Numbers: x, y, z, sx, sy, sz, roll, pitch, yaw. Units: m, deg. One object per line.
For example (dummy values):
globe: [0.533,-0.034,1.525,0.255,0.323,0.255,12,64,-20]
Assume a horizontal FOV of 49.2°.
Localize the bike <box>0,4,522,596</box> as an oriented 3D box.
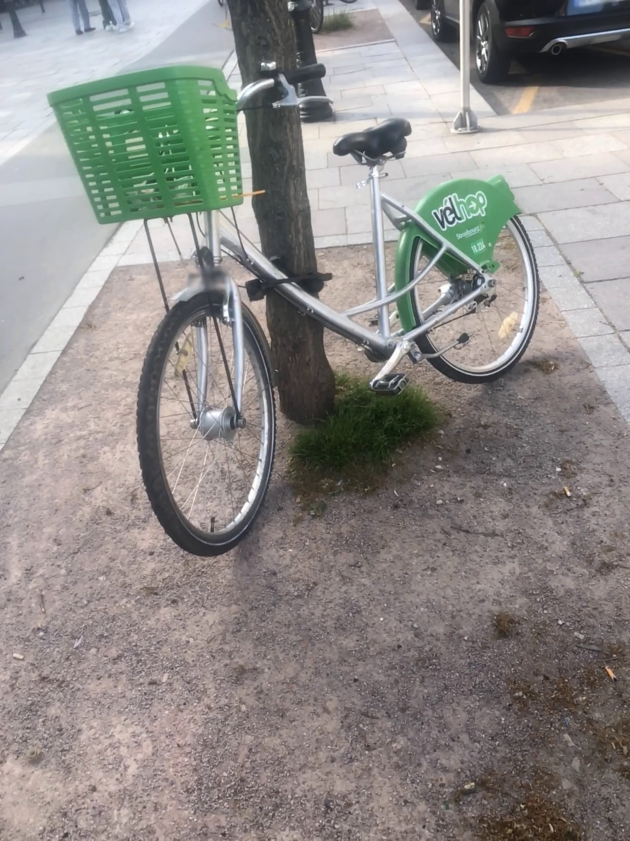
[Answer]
bike: [0.074,-0.484,1.986,0.311,1.115,1.728,19,41,35]
